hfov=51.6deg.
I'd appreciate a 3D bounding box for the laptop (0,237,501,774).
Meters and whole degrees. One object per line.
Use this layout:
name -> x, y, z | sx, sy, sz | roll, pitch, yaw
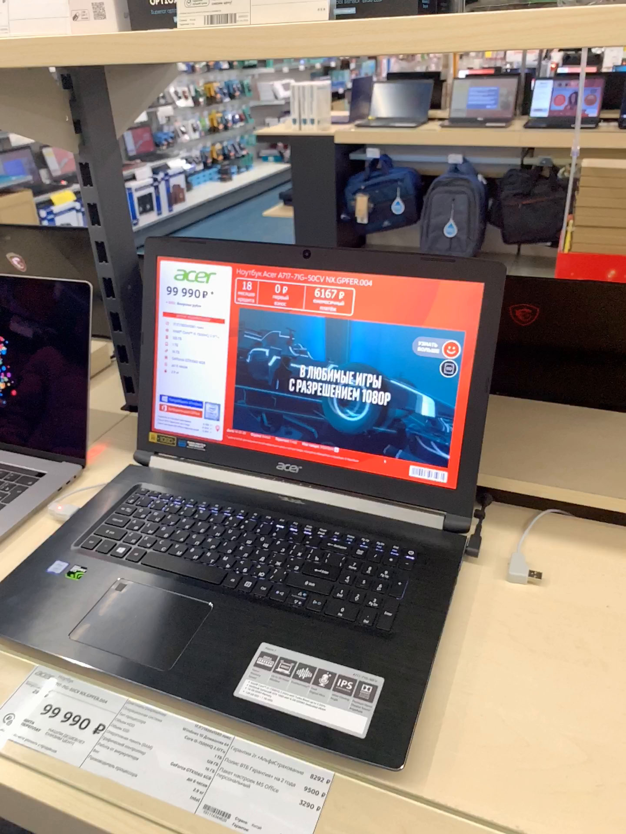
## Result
laptop -> -0.069, 0.019, 0.601 | 0.406, 0.248, 0.363 | 9, 32, 19
